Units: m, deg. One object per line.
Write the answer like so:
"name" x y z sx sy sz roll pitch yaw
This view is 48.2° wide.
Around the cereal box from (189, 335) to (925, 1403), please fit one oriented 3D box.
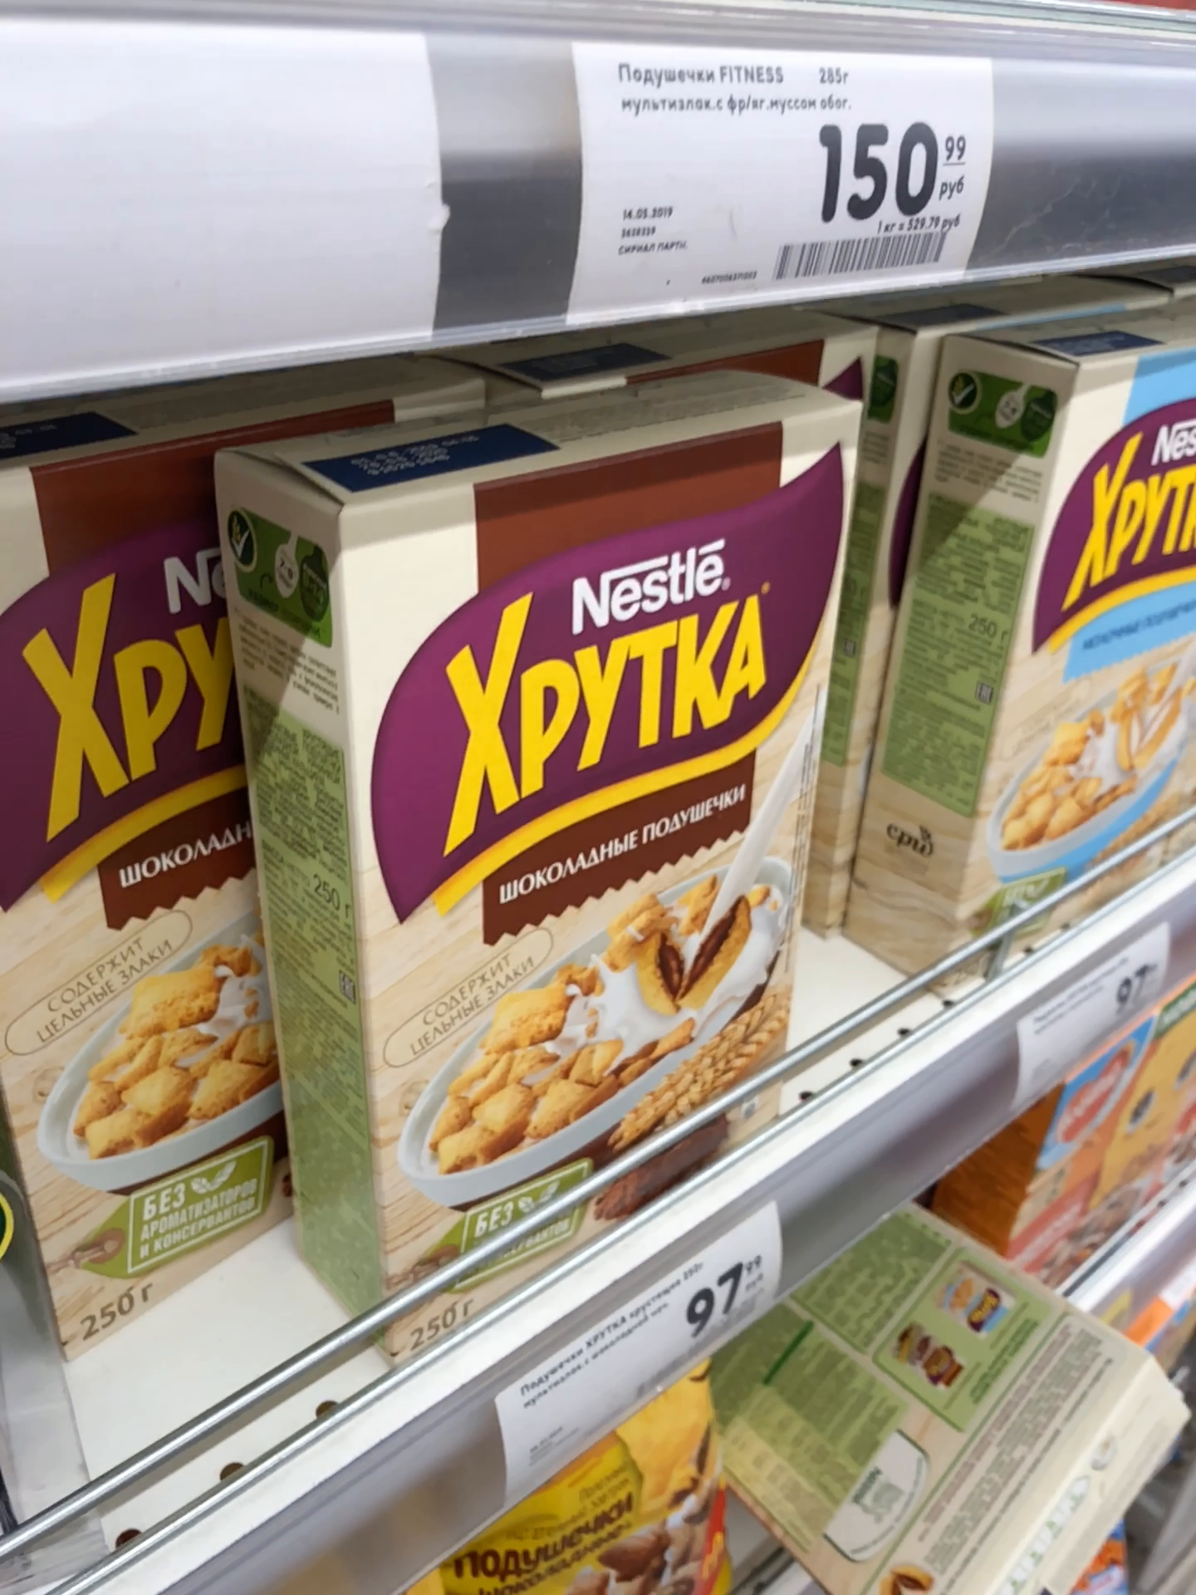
"cereal box" -0.001 0.014 0.322 0.161 0.219 0.040 -21 35 -36
